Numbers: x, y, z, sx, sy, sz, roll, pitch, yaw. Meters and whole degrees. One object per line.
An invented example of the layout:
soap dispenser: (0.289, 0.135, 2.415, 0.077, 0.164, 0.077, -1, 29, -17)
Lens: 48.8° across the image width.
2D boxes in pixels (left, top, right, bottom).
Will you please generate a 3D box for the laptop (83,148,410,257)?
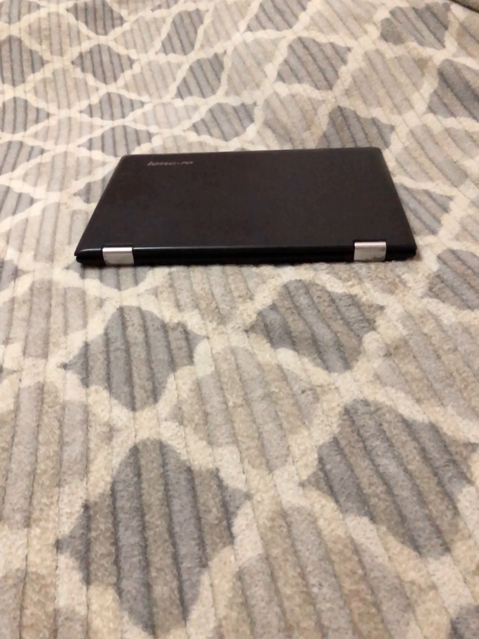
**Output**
laptop: (0.010, -0.148, 0.634, 0.339, 0.005, 0.232, 0, 42, 3)
